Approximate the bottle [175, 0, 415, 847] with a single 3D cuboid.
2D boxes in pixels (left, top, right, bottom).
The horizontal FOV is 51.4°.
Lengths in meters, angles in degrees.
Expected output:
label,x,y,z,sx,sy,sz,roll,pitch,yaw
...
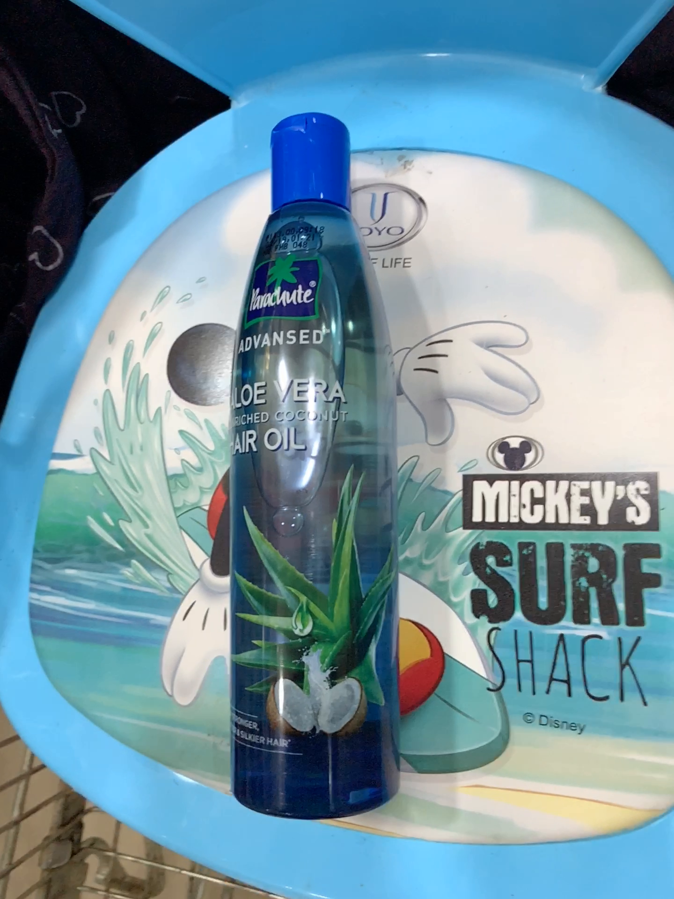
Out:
label,x,y,z,sx,sy,sz,roll,pitch,yaw
bottle,-0.009,-0.008,0.193,0.050,0.050,0.200,-1,88,16
